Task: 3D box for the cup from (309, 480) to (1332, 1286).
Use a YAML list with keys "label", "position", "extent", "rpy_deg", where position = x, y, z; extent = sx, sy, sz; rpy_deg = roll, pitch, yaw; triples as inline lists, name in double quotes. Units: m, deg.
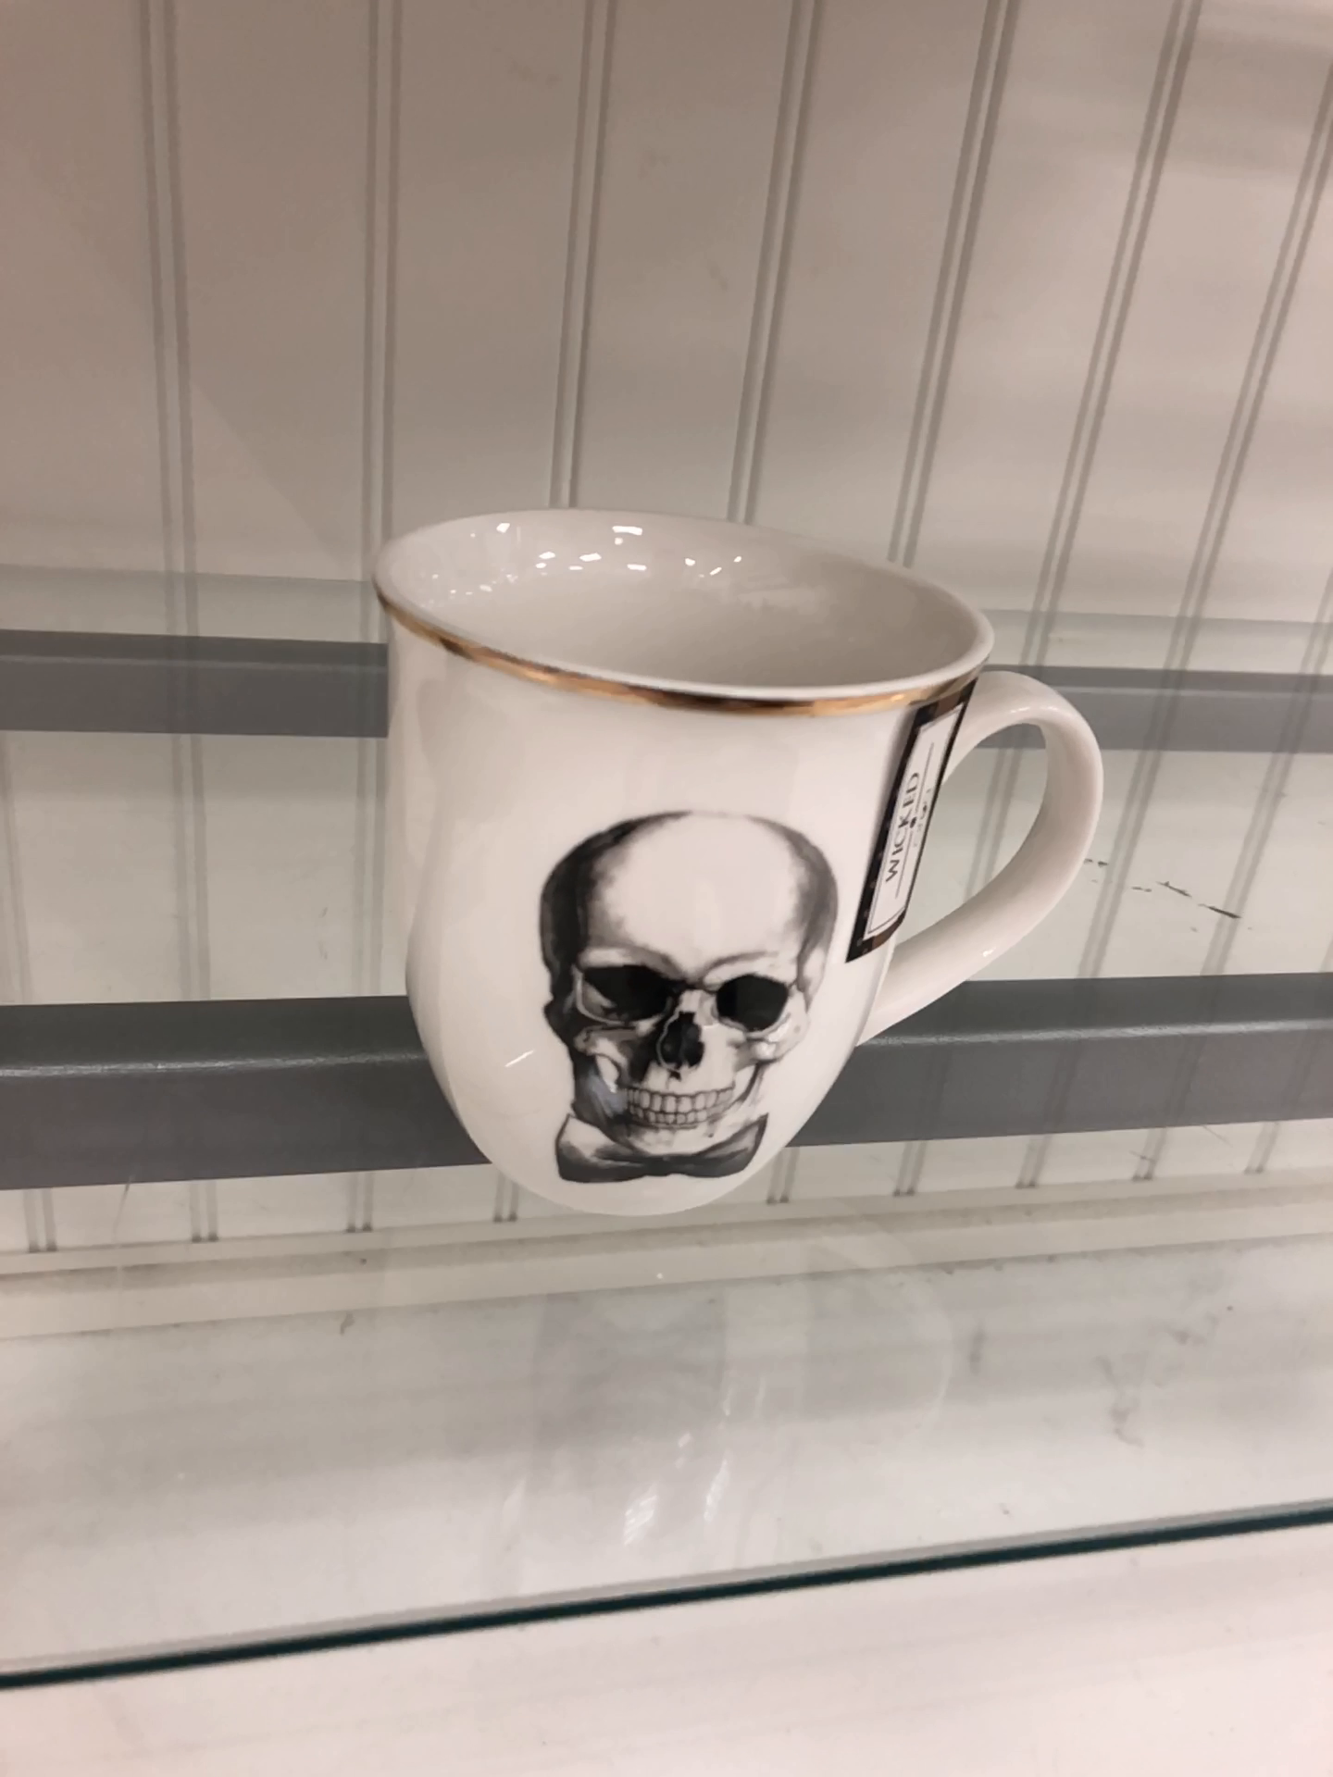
- label: "cup"
  position: [0.015, -0.012, 0.248]
  extent: [0.131, 0.088, 0.095]
  rpy_deg: [-6, 29, -24]
